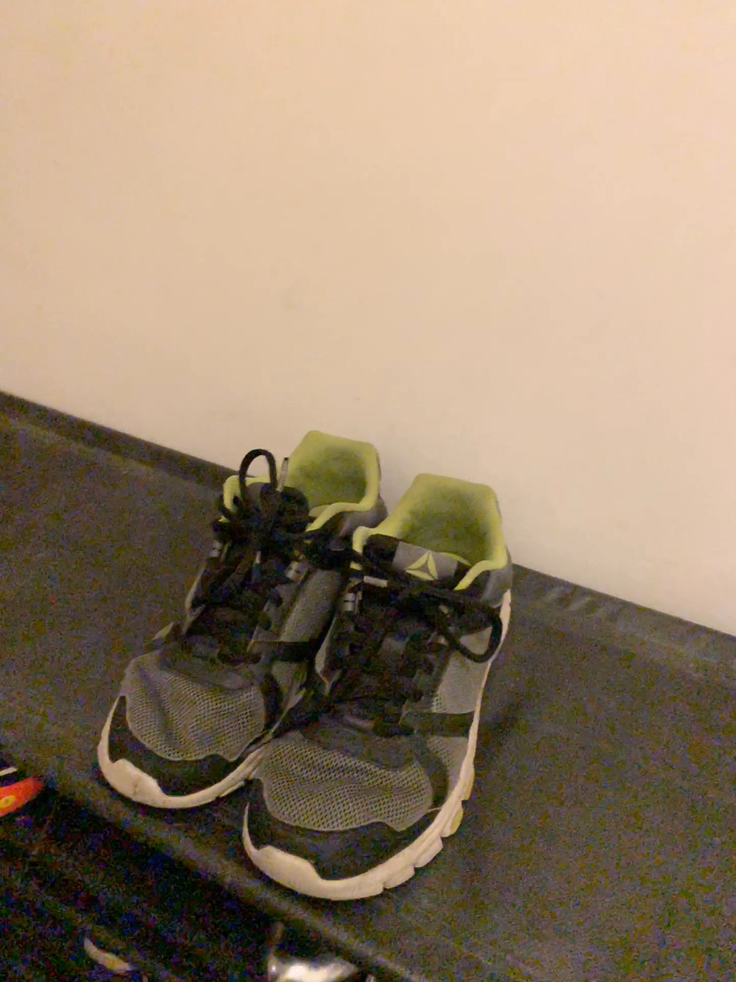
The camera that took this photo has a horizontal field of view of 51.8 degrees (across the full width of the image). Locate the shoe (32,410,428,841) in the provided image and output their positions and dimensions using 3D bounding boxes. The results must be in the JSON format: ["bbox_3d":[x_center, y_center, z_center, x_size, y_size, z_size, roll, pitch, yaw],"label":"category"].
[{"bbox_3d":[-0.061,0.058,0.465,0.100,0.099,0.252,17,37,20],"label":"shoe"}]

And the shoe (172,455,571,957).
[{"bbox_3d":[0.022,0.085,0.413,0.110,0.069,0.262,16,36,19],"label":"shoe"}]
